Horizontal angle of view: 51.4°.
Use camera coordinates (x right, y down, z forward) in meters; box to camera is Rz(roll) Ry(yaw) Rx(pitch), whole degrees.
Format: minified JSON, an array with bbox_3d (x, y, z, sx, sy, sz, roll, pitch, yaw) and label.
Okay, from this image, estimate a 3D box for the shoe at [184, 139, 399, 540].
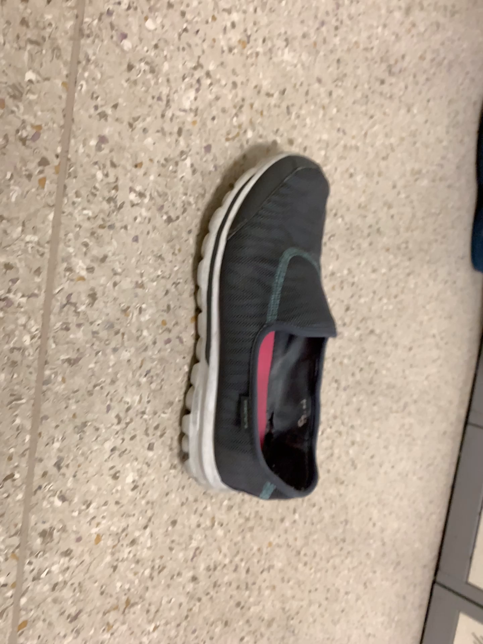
[{"bbox_3d":[0.034,0.009,0.354,0.103,0.075,0.239,-3,103,-47],"label":"shoe"}]
